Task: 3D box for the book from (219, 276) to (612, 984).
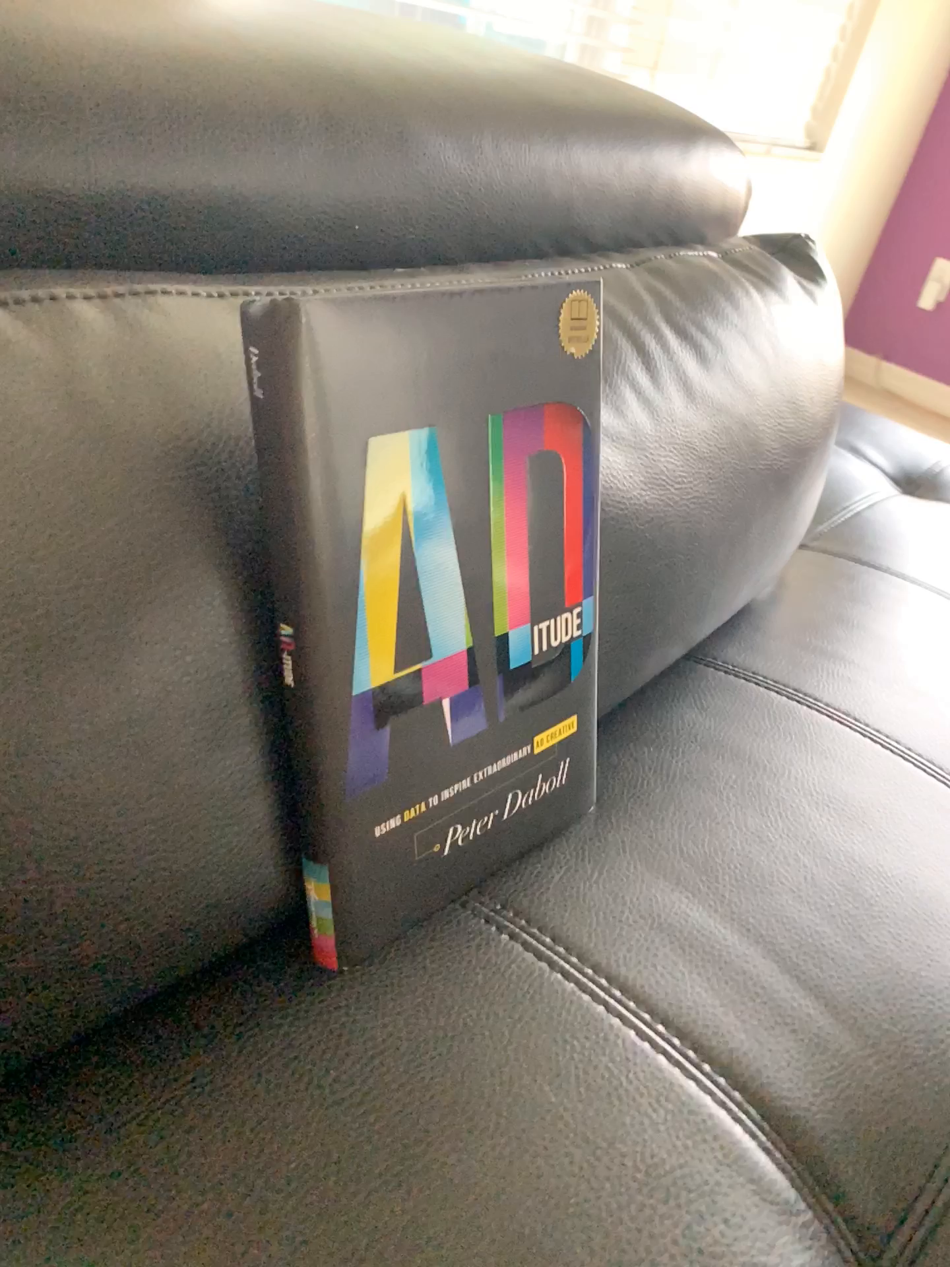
[{"bbox_3d":[-0.006,-0.009,0.376,0.025,0.235,0.161,16,27,41],"label":"book"}]
